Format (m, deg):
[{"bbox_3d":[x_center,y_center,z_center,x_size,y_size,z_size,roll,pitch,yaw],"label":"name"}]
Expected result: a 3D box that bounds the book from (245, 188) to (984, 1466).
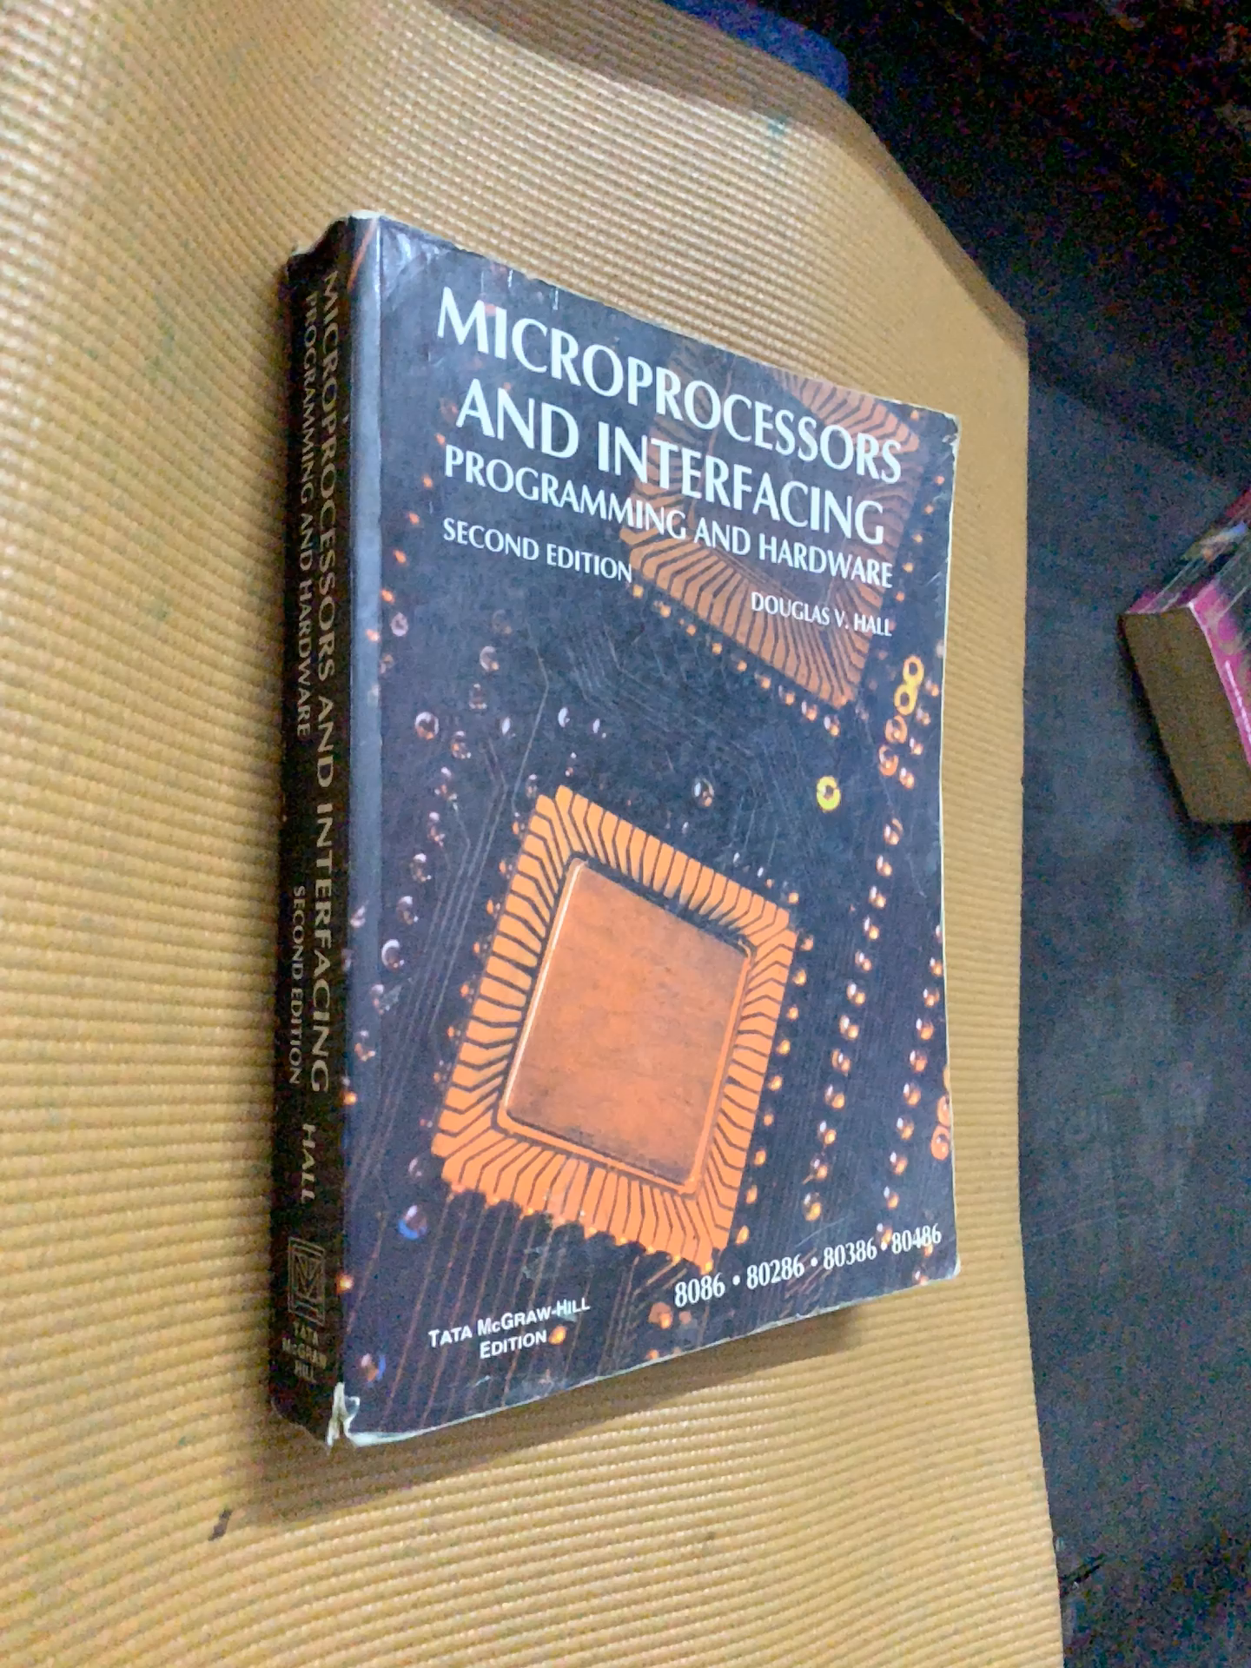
[{"bbox_3d":[0.013,0.000,0.442,0.261,0.060,0.338,4,84,-37],"label":"book"}]
